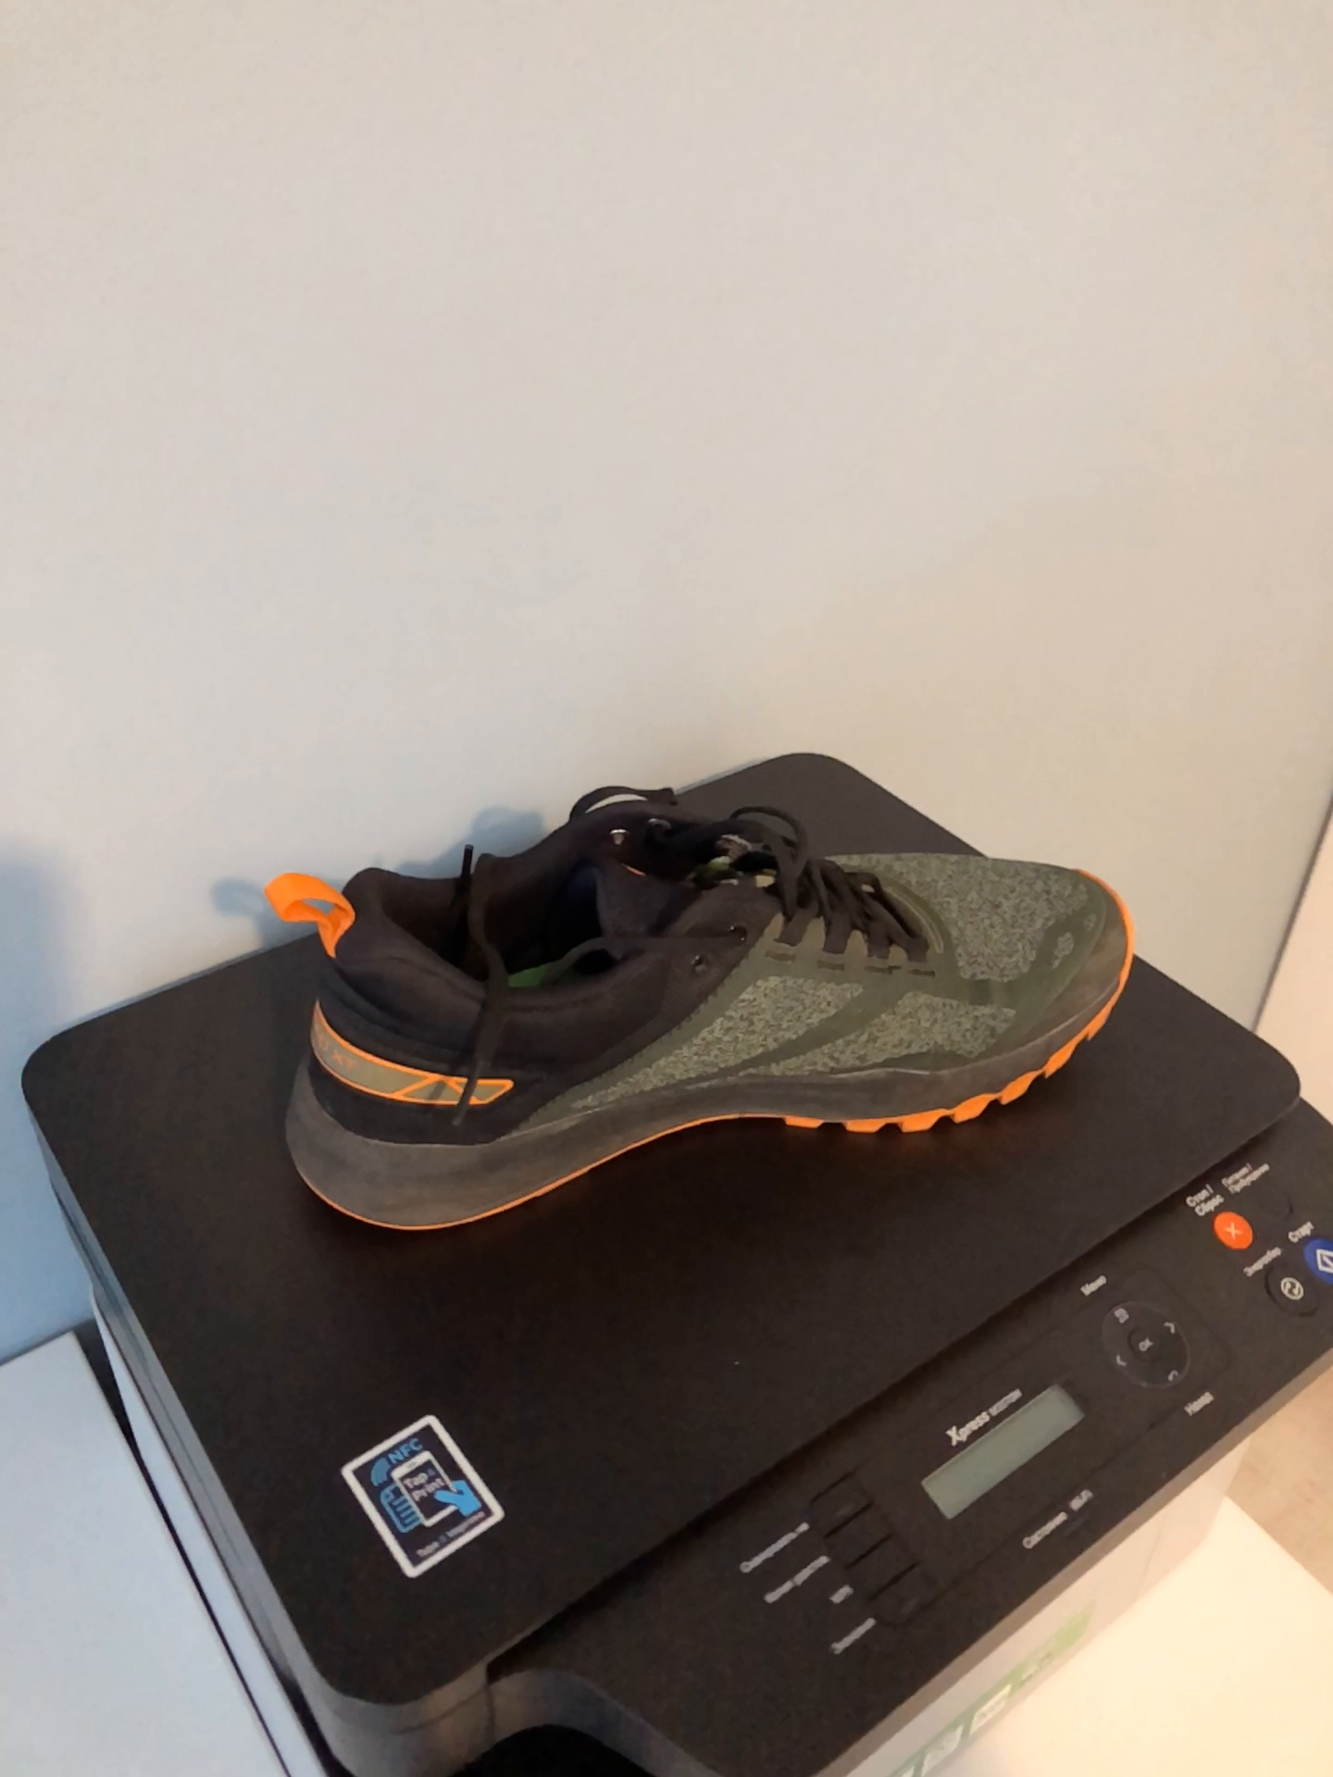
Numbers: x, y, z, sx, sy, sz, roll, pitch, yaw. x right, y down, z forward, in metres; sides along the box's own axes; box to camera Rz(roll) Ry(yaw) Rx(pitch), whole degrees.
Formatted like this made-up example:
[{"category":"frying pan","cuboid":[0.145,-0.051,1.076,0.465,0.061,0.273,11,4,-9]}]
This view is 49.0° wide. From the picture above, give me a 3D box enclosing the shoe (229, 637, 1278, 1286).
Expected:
[{"category":"shoe","cuboid":[0.024,0.013,0.498,0.310,0.119,0.121,-10,38,-15]}]
